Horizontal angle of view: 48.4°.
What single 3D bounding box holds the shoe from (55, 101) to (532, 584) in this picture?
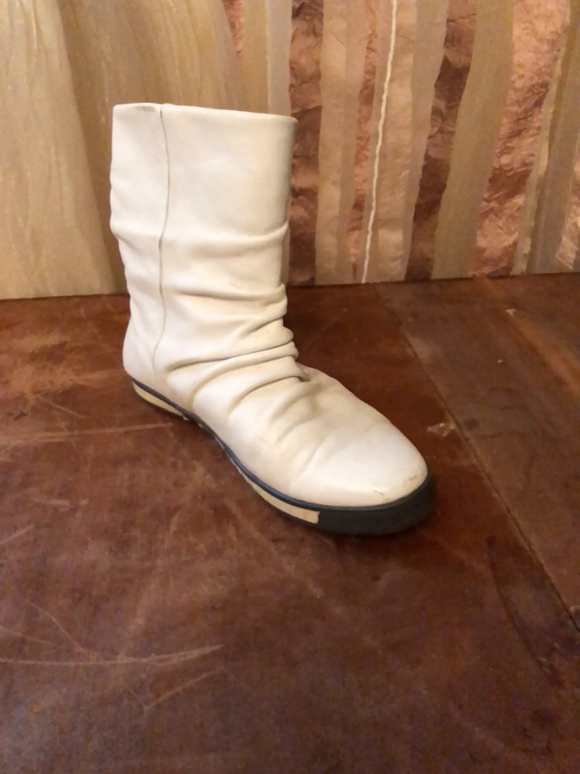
[{"bbox_3d":[-0.019,-0.048,0.345,0.090,0.169,0.241,-22,36,-35],"label":"shoe"}]
